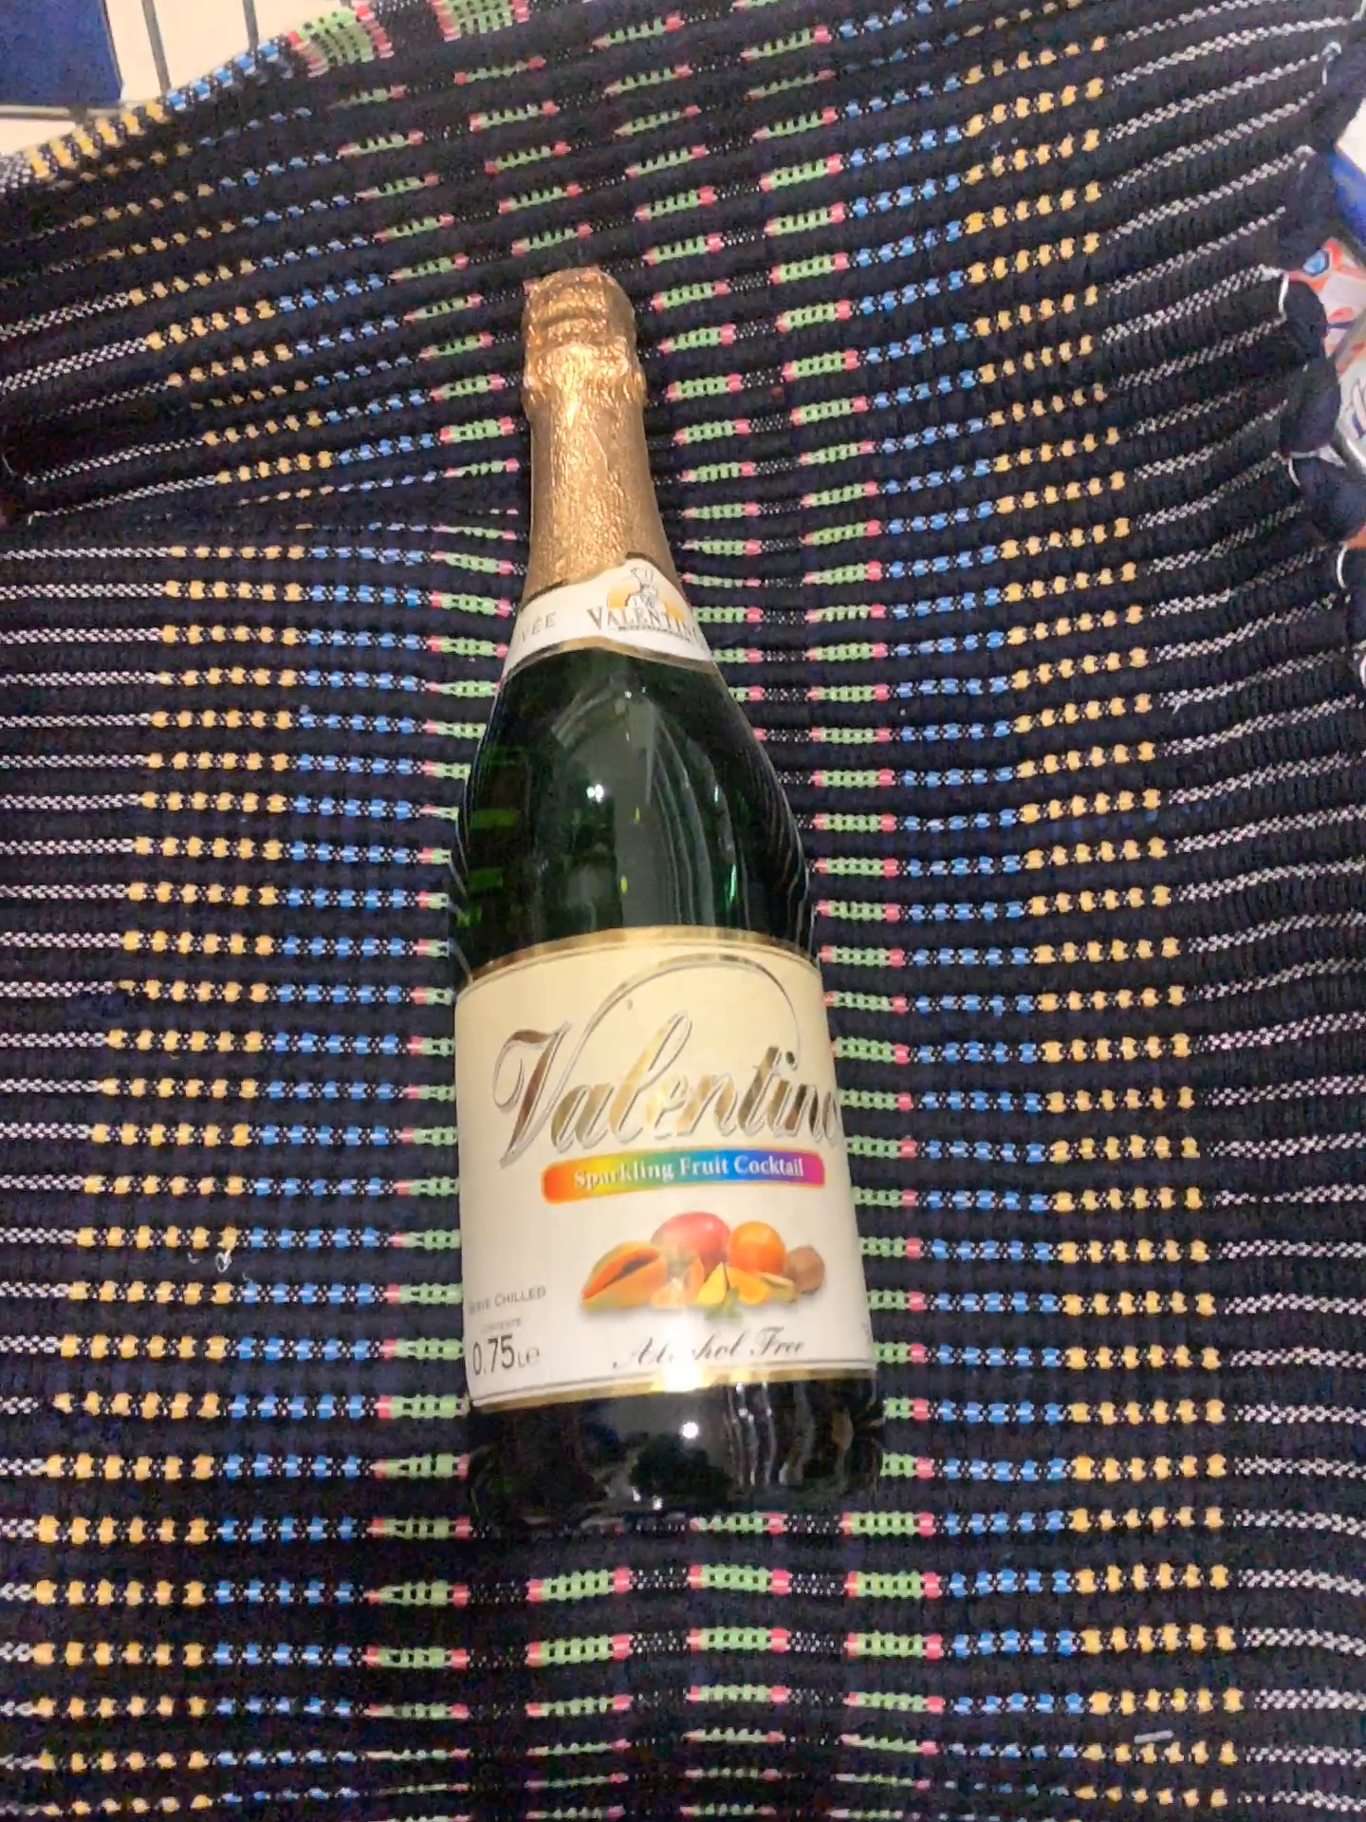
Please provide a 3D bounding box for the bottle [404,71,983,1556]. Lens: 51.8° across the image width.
[{"bbox_3d":[-0.016,-0.042,0.337,0.090,0.080,0.350,-2,66,-10],"label":"bottle"}]
